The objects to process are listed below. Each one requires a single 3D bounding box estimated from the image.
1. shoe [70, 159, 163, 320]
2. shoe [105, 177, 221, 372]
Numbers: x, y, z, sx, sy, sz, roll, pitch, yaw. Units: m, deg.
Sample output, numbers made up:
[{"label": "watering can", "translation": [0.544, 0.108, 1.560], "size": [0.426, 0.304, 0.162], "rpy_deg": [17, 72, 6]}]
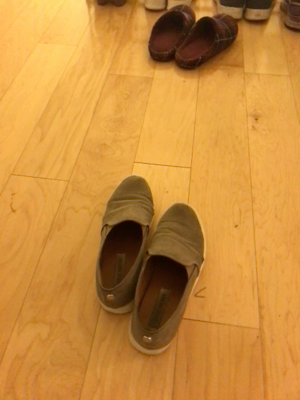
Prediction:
[{"label": "shoe", "translation": [-0.045, 0.055, 0.569], "size": [0.100, 0.070, 0.272], "rpy_deg": [7, 54, 5]}, {"label": "shoe", "translation": [0.034, 0.106, 0.542], "size": [0.110, 0.080, 0.292], "rpy_deg": [14, 55, 9]}]
